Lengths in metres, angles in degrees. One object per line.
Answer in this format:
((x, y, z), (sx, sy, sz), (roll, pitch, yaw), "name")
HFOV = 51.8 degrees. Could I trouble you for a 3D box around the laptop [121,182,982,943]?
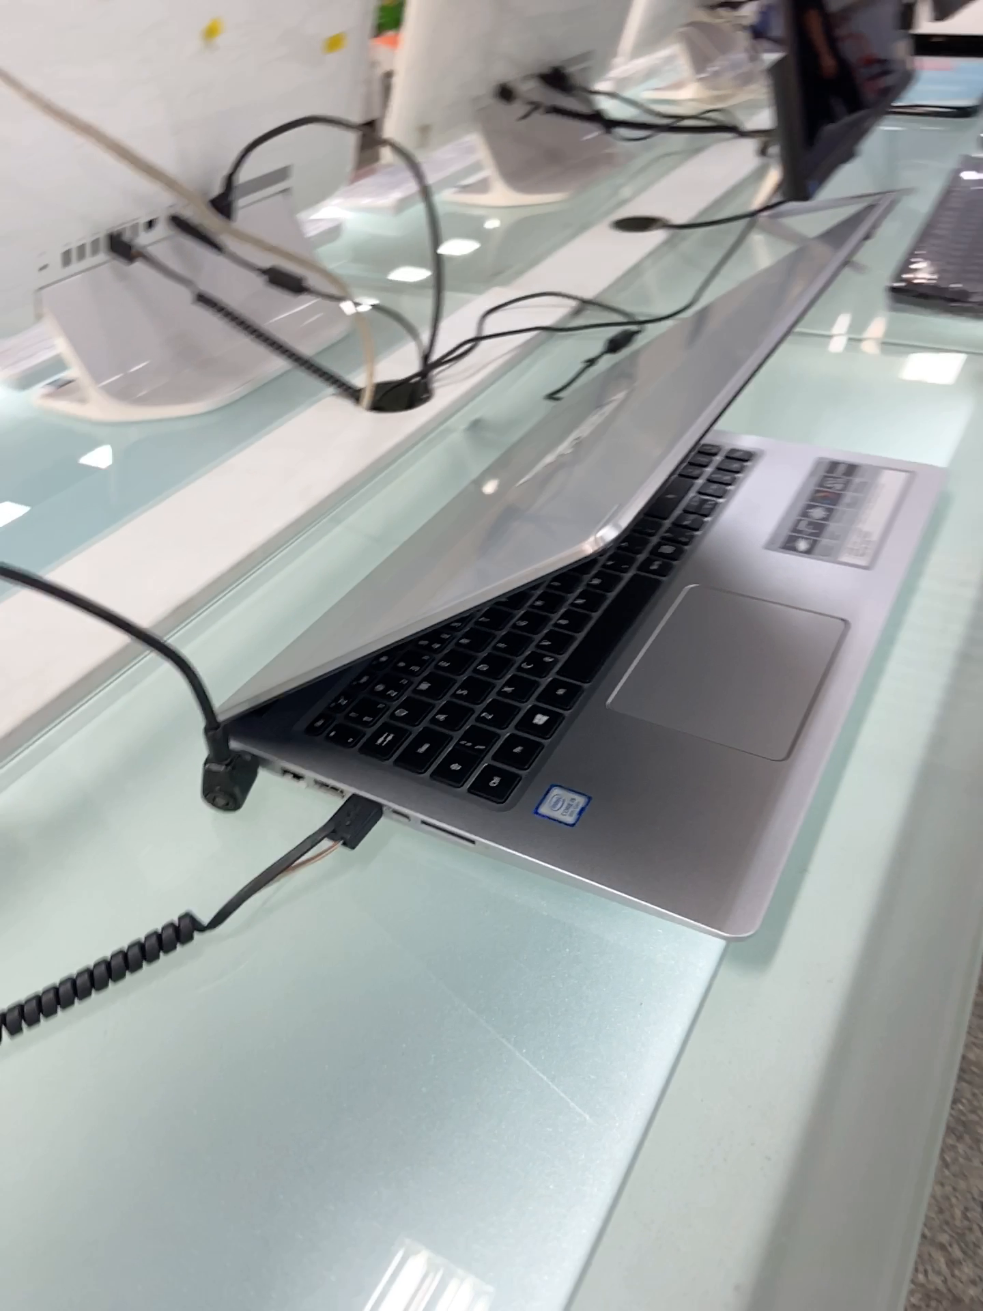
((0.065, -0.092, 0.462), (0.236, 0.138, 0.362), (16, 41, 24), "laptop")
